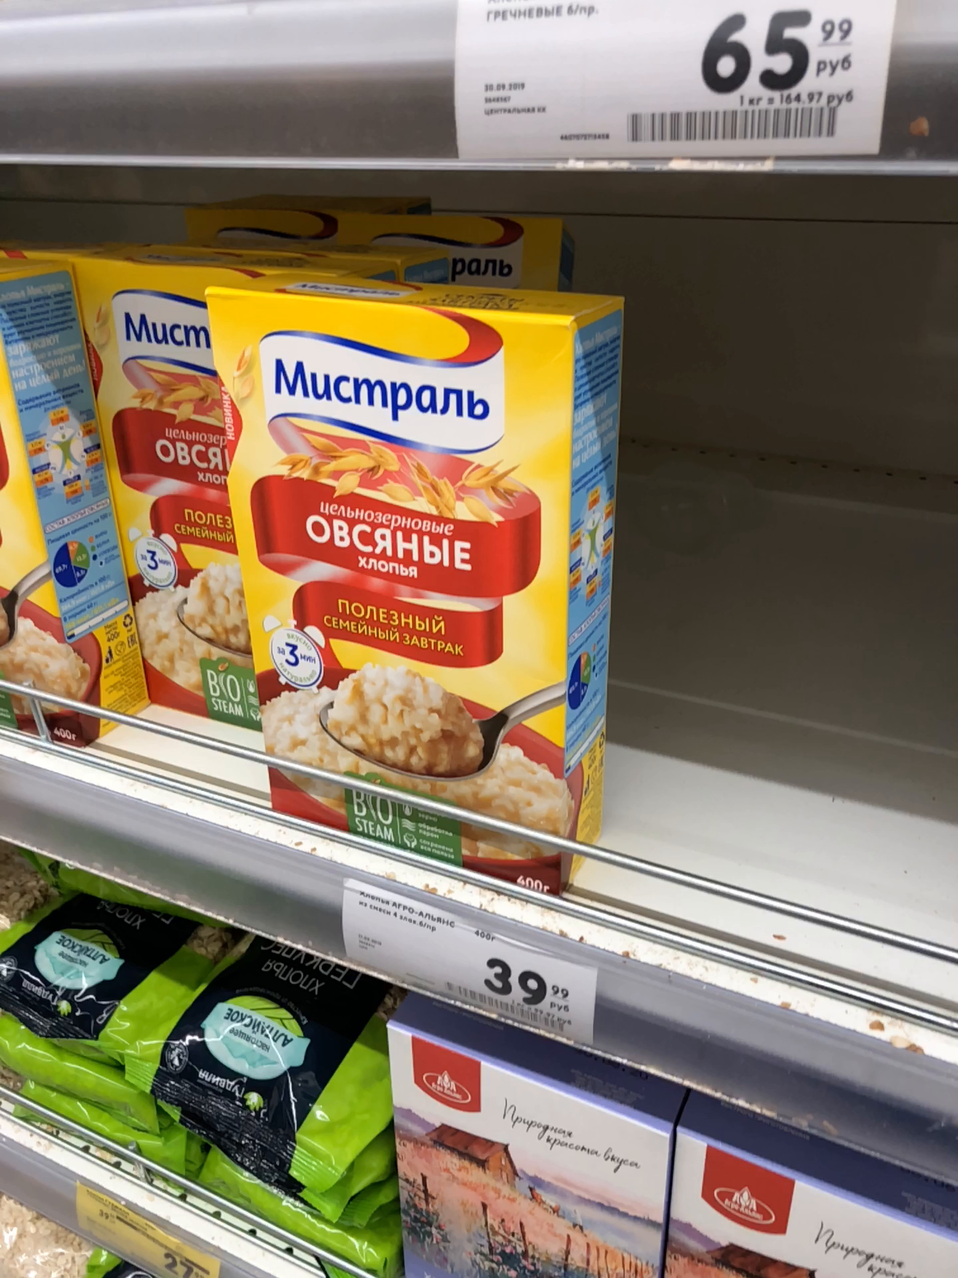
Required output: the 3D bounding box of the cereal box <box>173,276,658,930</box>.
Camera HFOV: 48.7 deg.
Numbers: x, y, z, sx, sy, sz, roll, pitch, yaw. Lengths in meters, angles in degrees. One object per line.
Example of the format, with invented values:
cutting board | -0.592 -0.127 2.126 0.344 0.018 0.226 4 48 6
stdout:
cereal box | -0.022 -0.015 0.383 0.150 0.209 0.050 12 28 25
